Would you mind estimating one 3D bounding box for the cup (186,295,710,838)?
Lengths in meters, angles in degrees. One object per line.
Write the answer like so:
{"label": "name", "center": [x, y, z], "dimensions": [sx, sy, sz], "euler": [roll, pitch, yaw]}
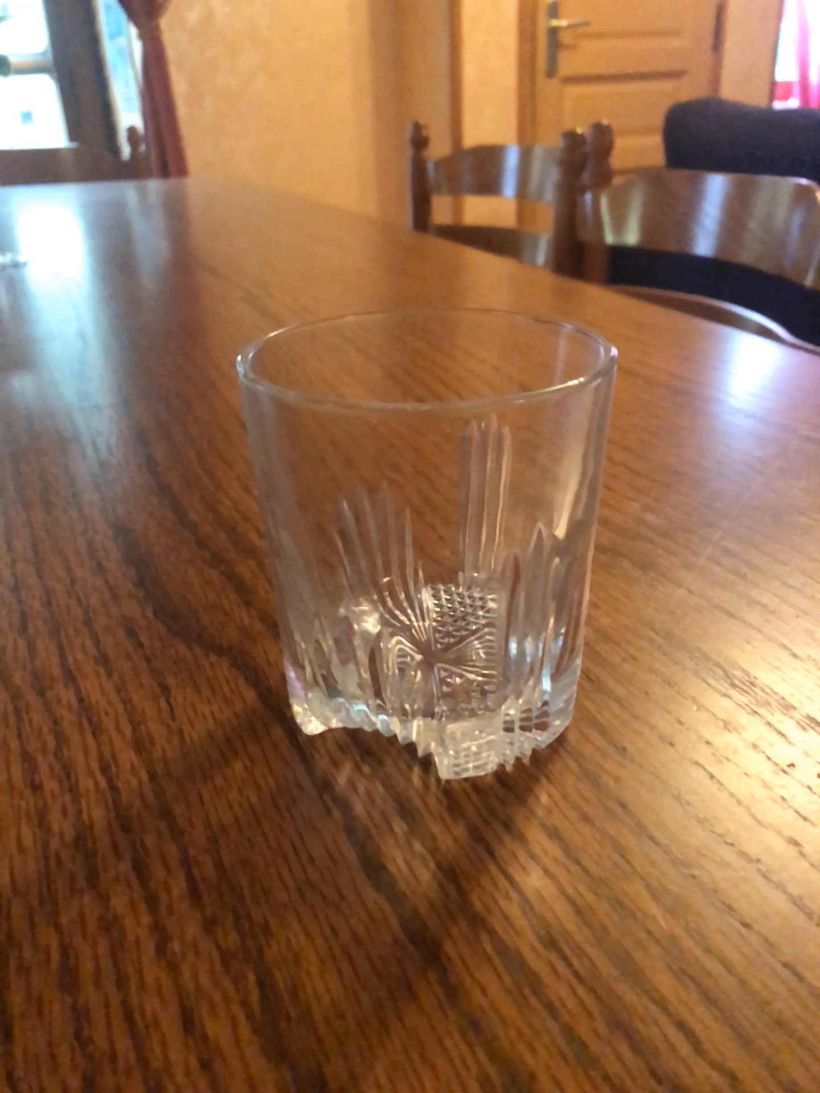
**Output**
{"label": "cup", "center": [0.006, -0.005, 0.216], "dimensions": [0.080, 0.084, 0.084], "euler": [-2, 26, 1]}
